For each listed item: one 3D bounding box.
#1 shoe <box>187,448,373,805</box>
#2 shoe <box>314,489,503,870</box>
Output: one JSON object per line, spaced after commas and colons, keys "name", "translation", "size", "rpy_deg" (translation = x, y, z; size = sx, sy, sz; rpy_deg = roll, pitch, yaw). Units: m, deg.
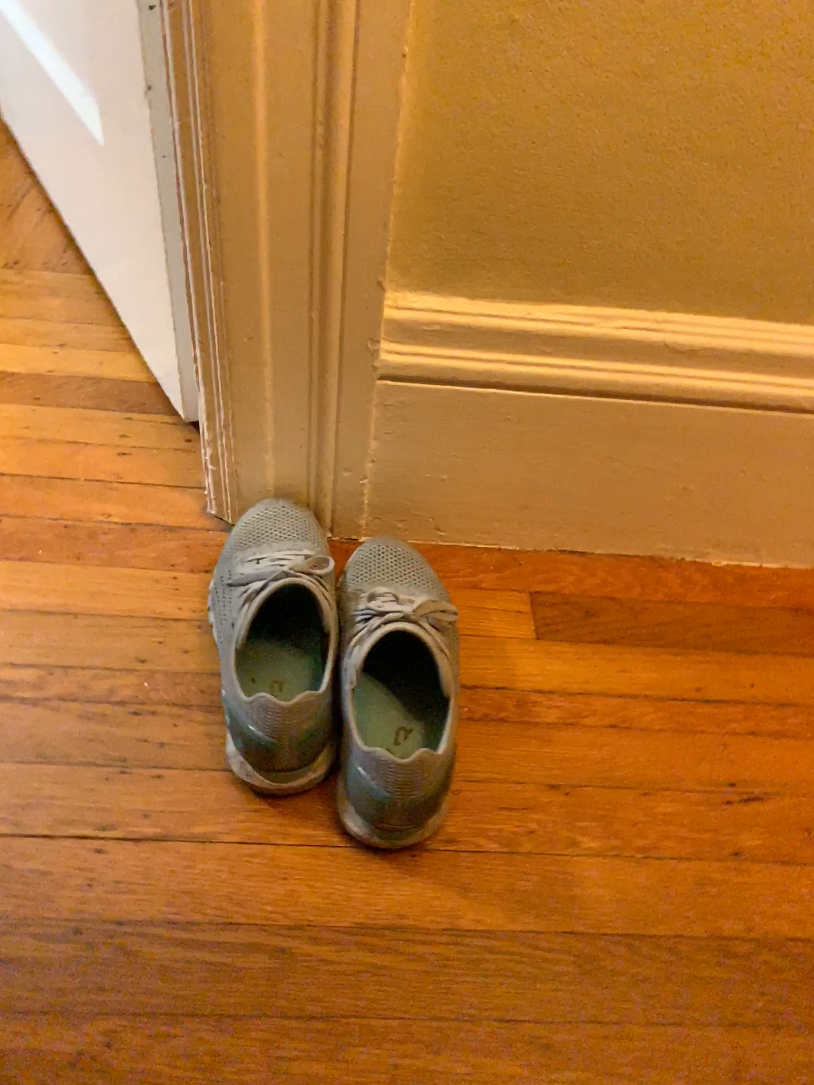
{"name": "shoe", "translation": [-0.099, 0.047, 0.614], "size": [0.110, 0.080, 0.261], "rpy_deg": [-3, 47, -10]}
{"name": "shoe", "translation": [-0.011, 0.087, 0.615], "size": [0.110, 0.090, 0.271], "rpy_deg": [1, 47, -7]}
